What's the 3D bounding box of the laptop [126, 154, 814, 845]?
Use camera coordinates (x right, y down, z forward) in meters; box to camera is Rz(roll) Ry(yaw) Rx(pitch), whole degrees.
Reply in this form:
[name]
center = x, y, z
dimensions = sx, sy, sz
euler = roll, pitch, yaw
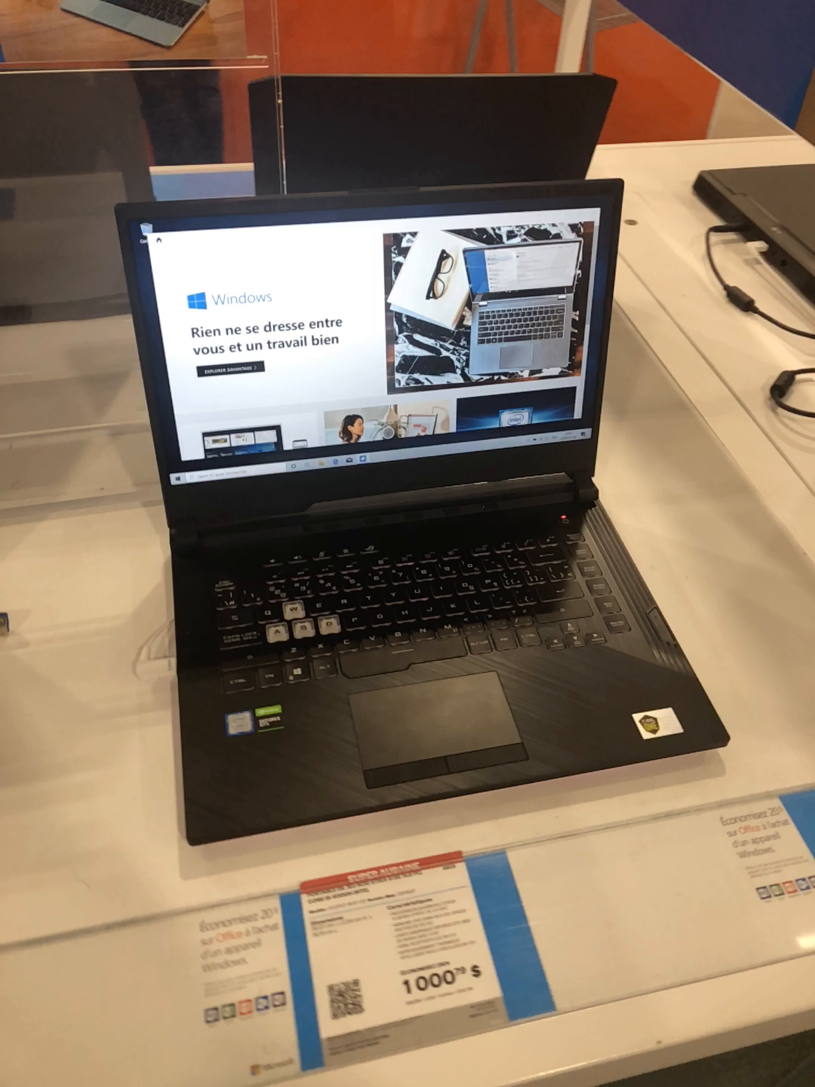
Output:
[laptop]
center = 0.012, -0.055, 0.618
dimensions = 0.363, 0.236, 0.345
euler = -8, 48, -11
